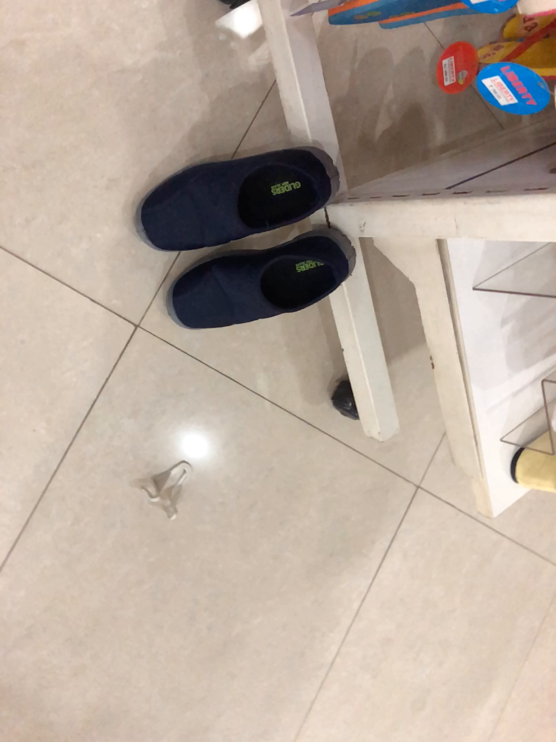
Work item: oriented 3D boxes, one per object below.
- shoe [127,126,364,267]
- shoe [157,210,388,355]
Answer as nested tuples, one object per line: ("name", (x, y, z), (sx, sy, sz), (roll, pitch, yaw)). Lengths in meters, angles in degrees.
("shoe", (-0.040, -0.231, 0.809), (0.289, 0.063, 0.107), (-18, 111, -11))
("shoe", (-0.005, -0.128, 0.845), (0.289, 0.083, 0.110), (-19, 112, -13))
